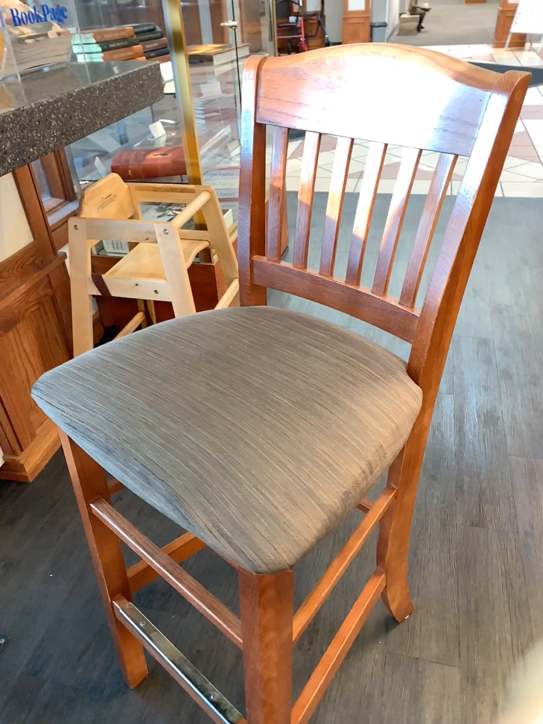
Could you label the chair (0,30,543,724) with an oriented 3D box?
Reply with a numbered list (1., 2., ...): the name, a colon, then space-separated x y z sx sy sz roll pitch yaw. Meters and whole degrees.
1. chair: -0.037 0.097 0.913 0.602 1.045 0.661 27 45 37
